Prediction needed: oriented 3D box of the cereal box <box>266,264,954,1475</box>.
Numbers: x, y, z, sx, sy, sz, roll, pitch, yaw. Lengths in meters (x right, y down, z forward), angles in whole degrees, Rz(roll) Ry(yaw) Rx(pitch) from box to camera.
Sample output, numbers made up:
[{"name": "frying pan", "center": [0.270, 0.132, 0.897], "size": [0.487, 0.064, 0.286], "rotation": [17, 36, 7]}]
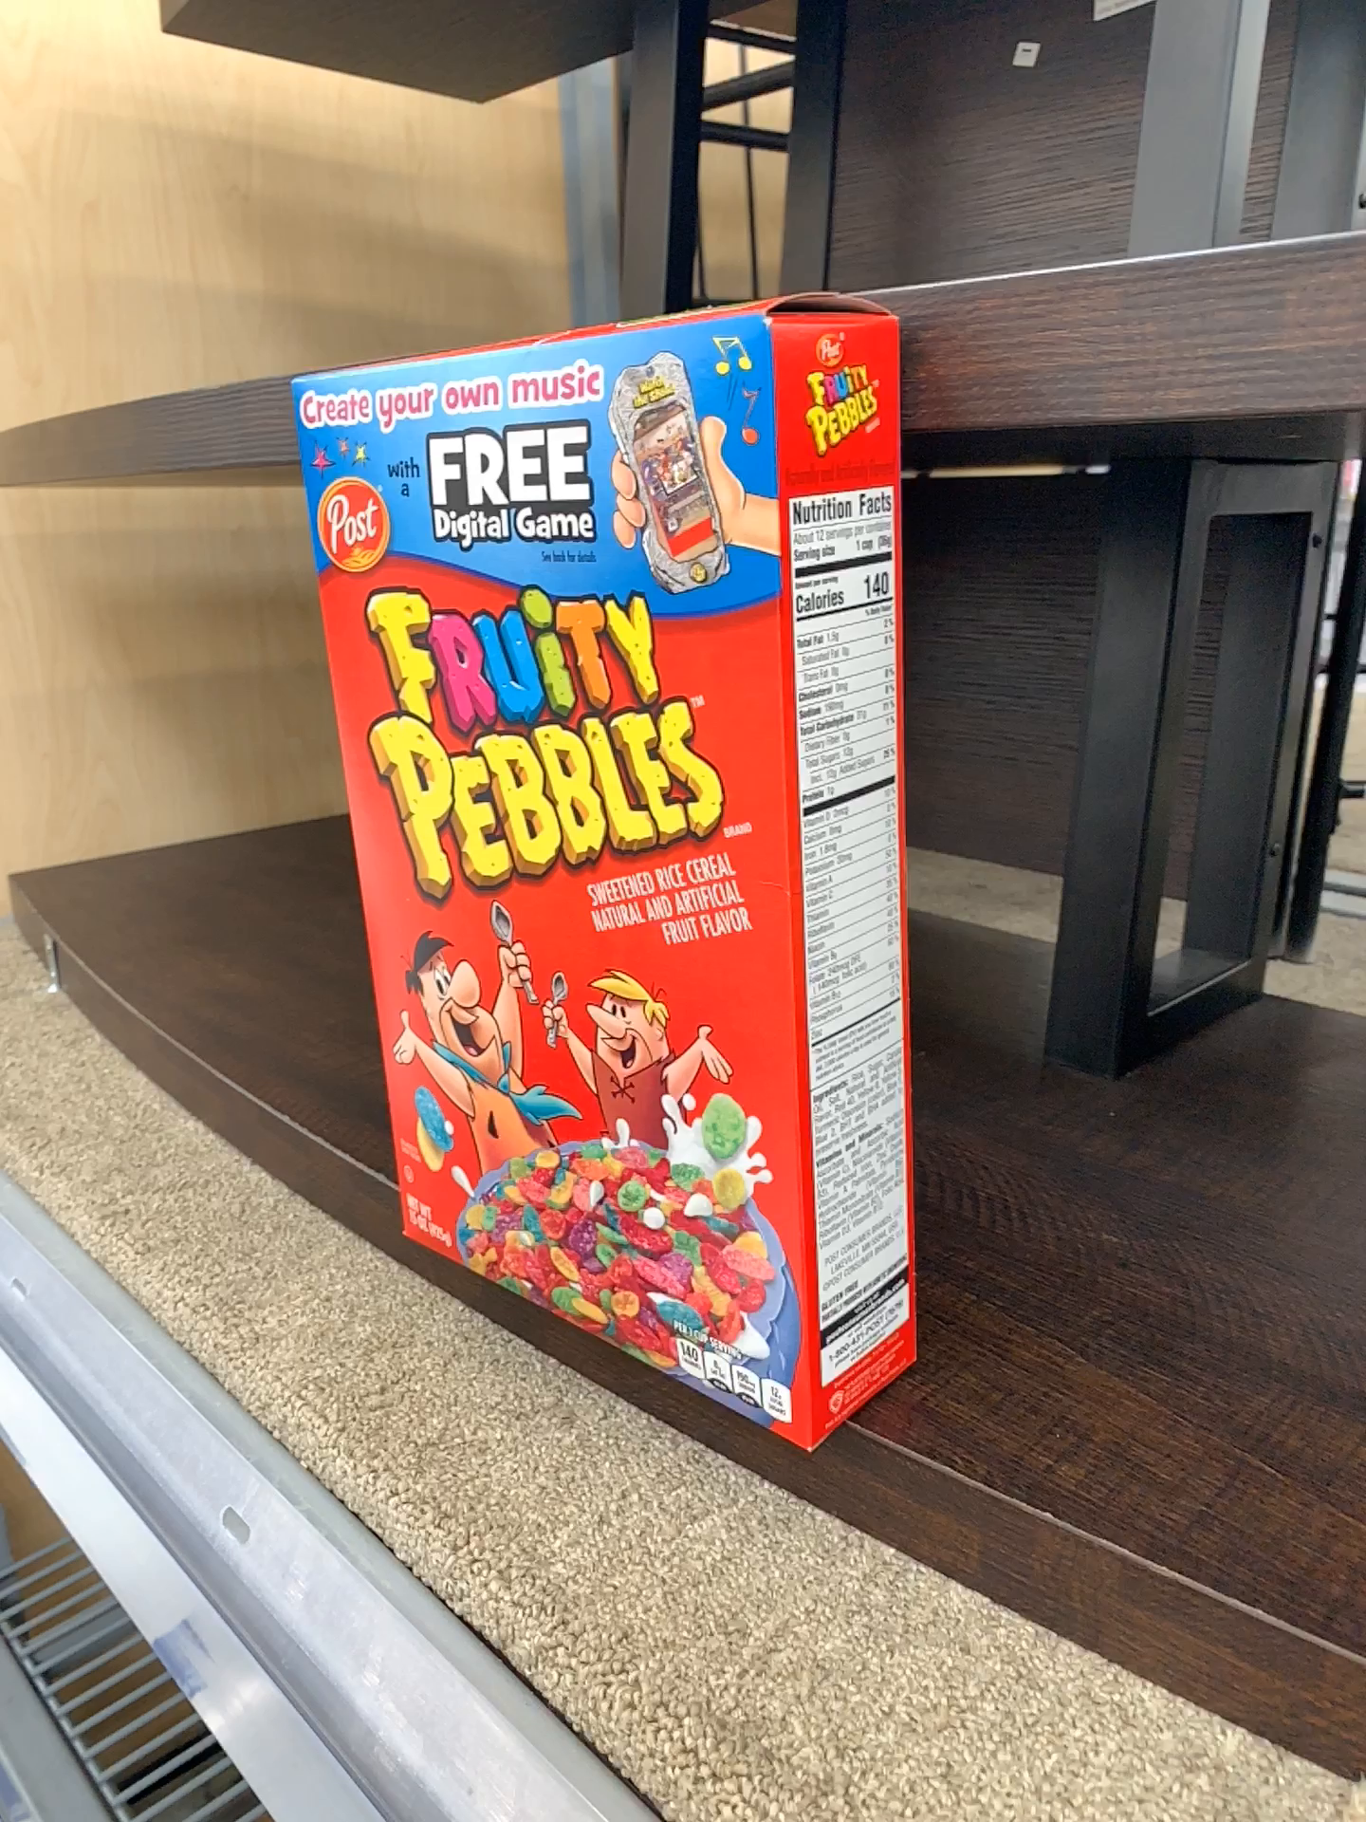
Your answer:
[{"name": "cereal box", "center": [-0.025, -0.017, 0.434], "size": [0.211, 0.309, 0.060], "rotation": [13, 23, 41]}]
